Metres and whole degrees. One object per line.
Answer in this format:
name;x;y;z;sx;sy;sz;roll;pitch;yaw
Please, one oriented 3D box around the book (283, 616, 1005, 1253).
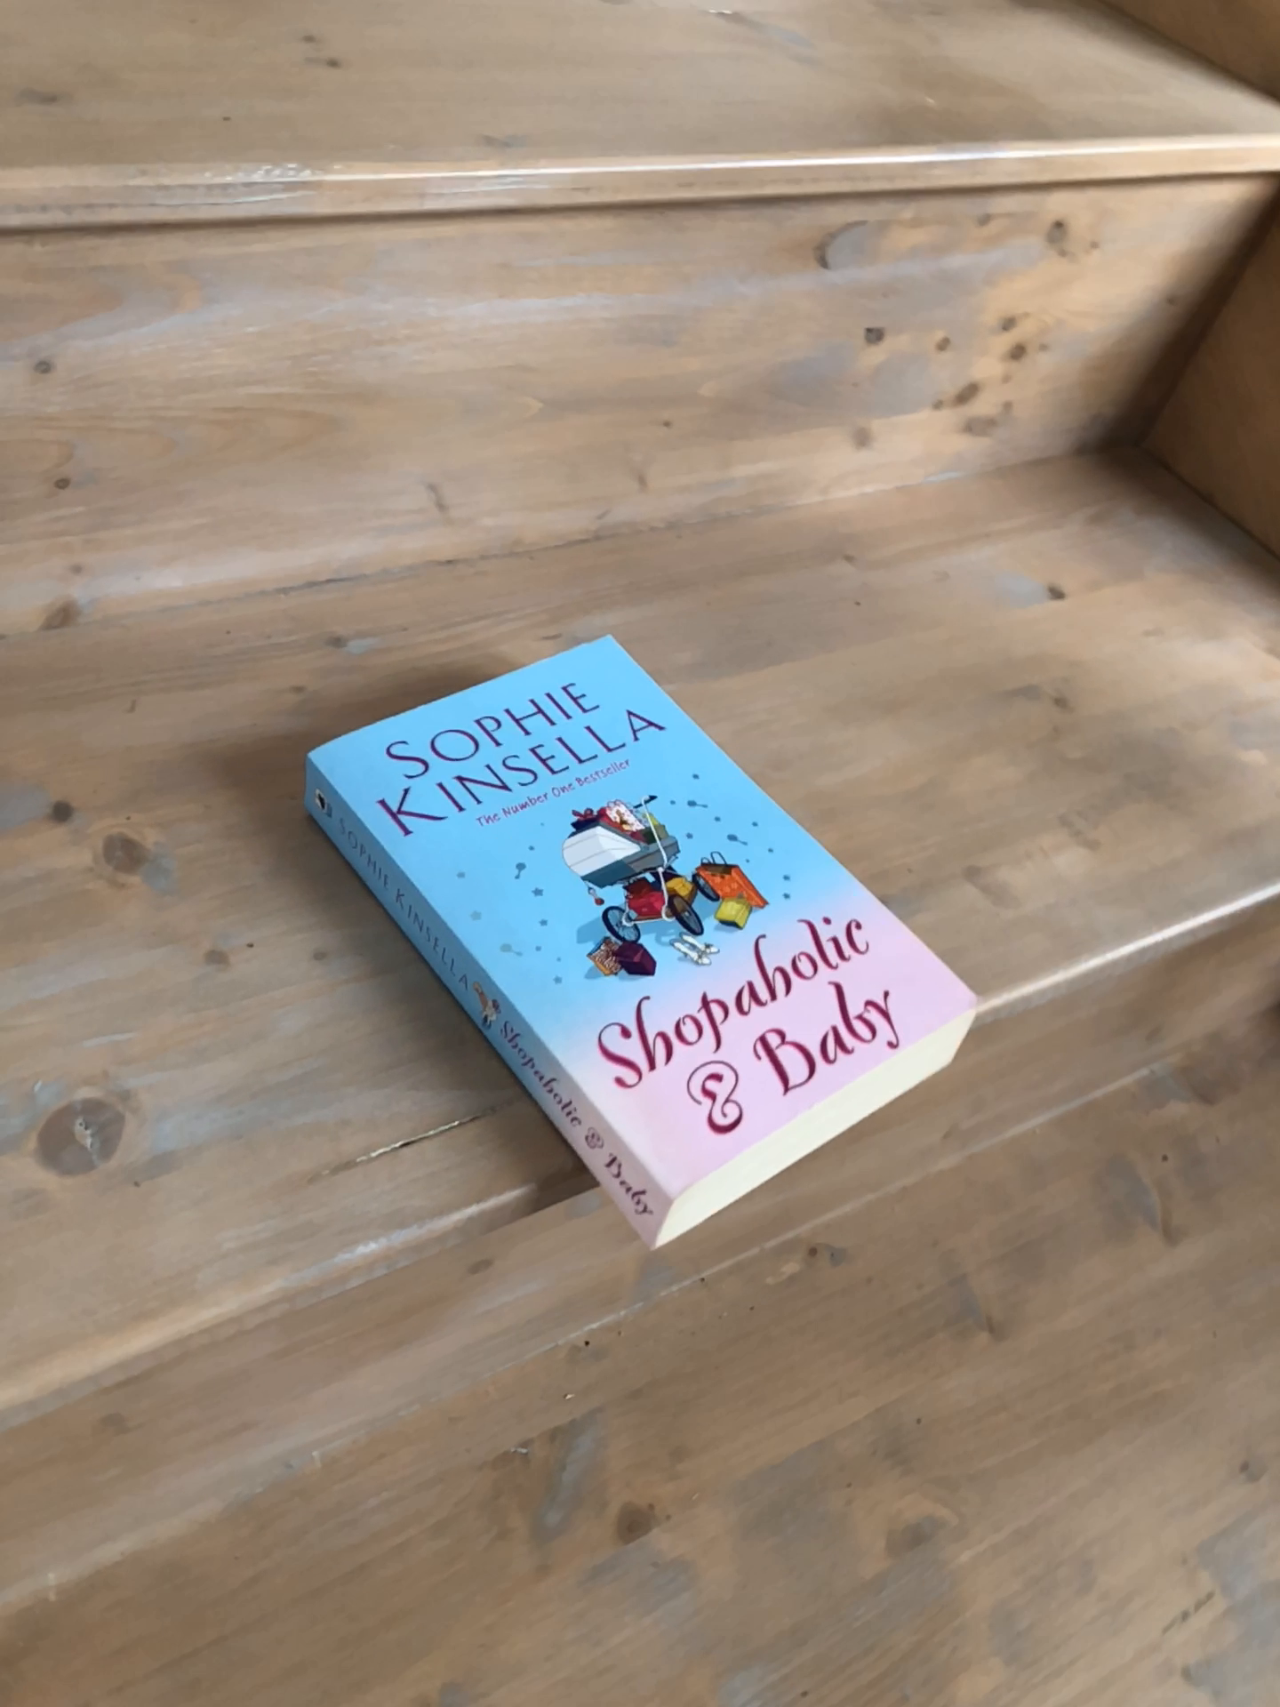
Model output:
book;-0.005;0.010;0.462;0.131;0.031;0.211;-25;55;-31
